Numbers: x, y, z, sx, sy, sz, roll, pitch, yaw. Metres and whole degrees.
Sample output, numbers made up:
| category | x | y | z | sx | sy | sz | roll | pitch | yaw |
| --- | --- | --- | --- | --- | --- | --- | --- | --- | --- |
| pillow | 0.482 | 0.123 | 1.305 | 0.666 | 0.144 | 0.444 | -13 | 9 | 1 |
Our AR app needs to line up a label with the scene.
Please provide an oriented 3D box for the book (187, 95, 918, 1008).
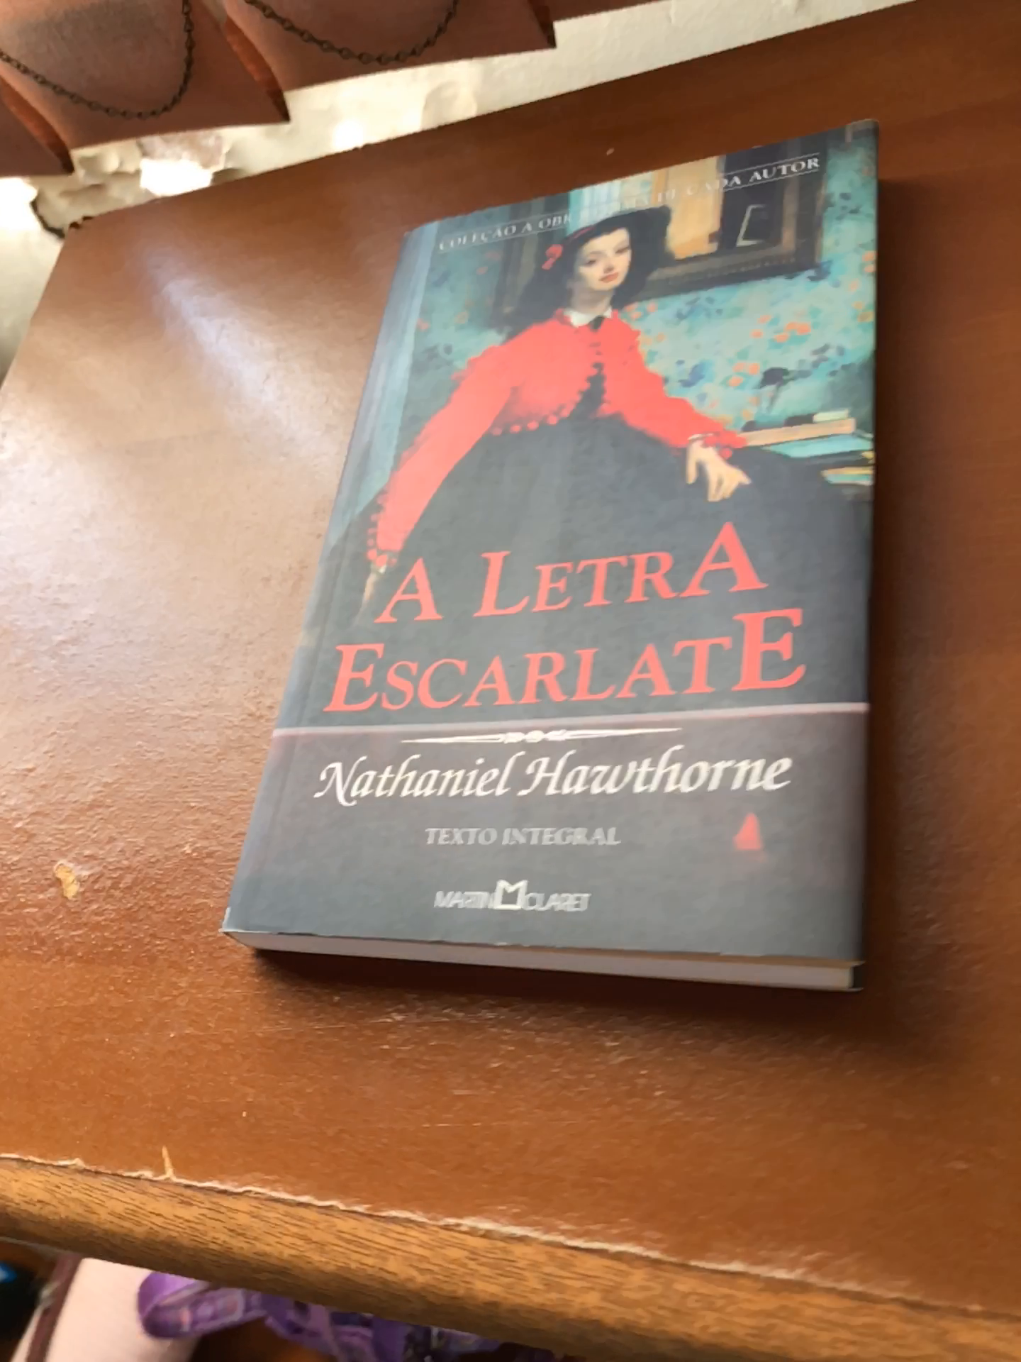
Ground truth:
| category | x | y | z | sx | sy | sz | roll | pitch | yaw |
| --- | --- | --- | --- | --- | --- | --- | --- | --- | --- |
| book | 0.014 | -0.031 | 0.207 | 0.112 | 0.015 | 0.166 | -3 | 60 | 25 |
